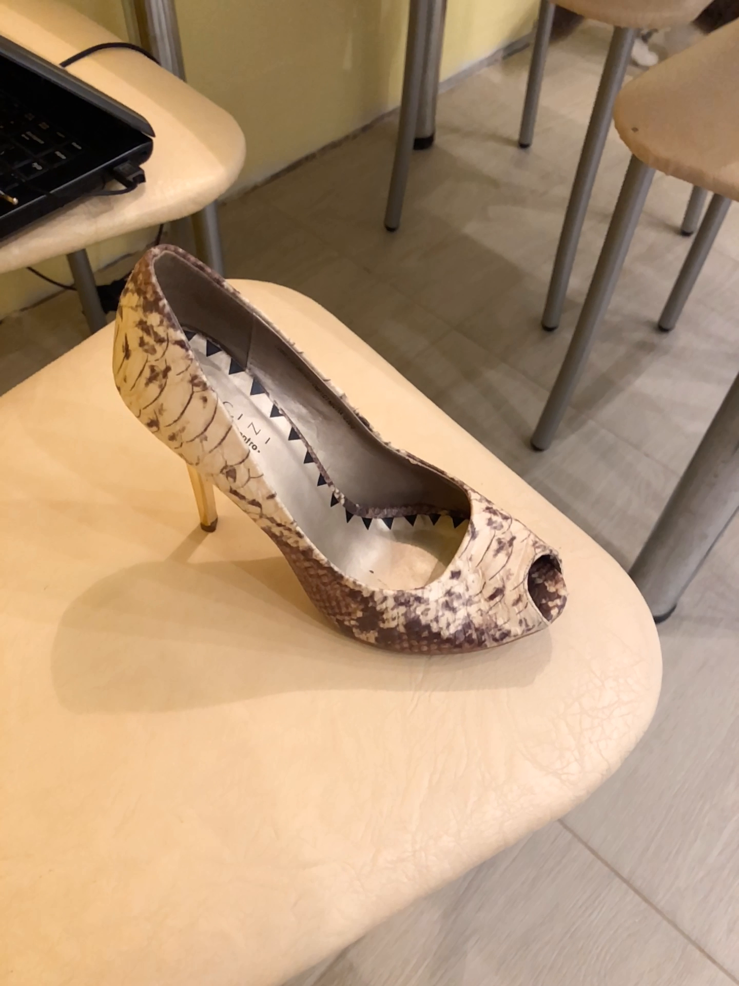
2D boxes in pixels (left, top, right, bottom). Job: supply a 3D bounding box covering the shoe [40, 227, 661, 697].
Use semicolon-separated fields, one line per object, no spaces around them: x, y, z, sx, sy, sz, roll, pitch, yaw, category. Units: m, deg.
-0.006;-0.009;0.334;0.200;0.129;0.080;16;54;9;shoe
